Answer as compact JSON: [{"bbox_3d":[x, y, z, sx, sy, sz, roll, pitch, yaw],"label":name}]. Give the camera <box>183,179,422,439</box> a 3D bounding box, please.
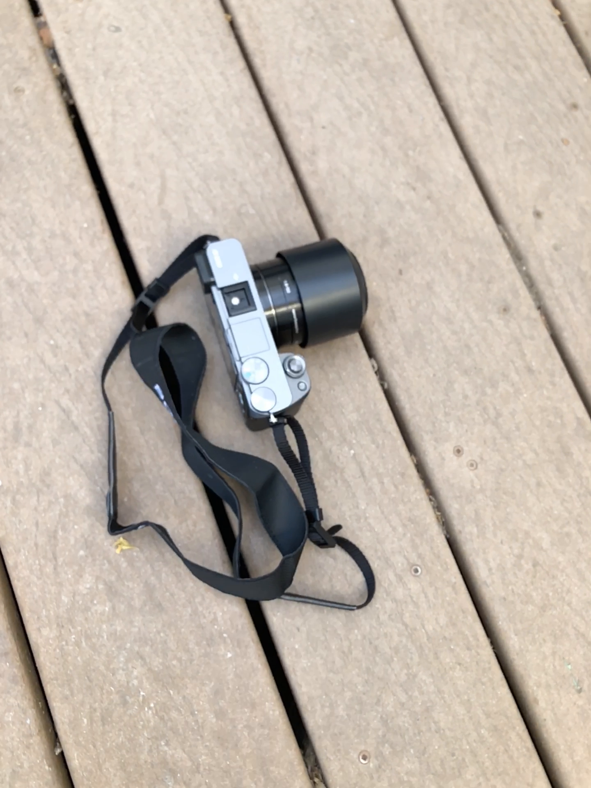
[{"bbox_3d":[0.000,-0.054,0.433,0.110,0.070,0.130,-17,79,-11],"label":"camera"}]
